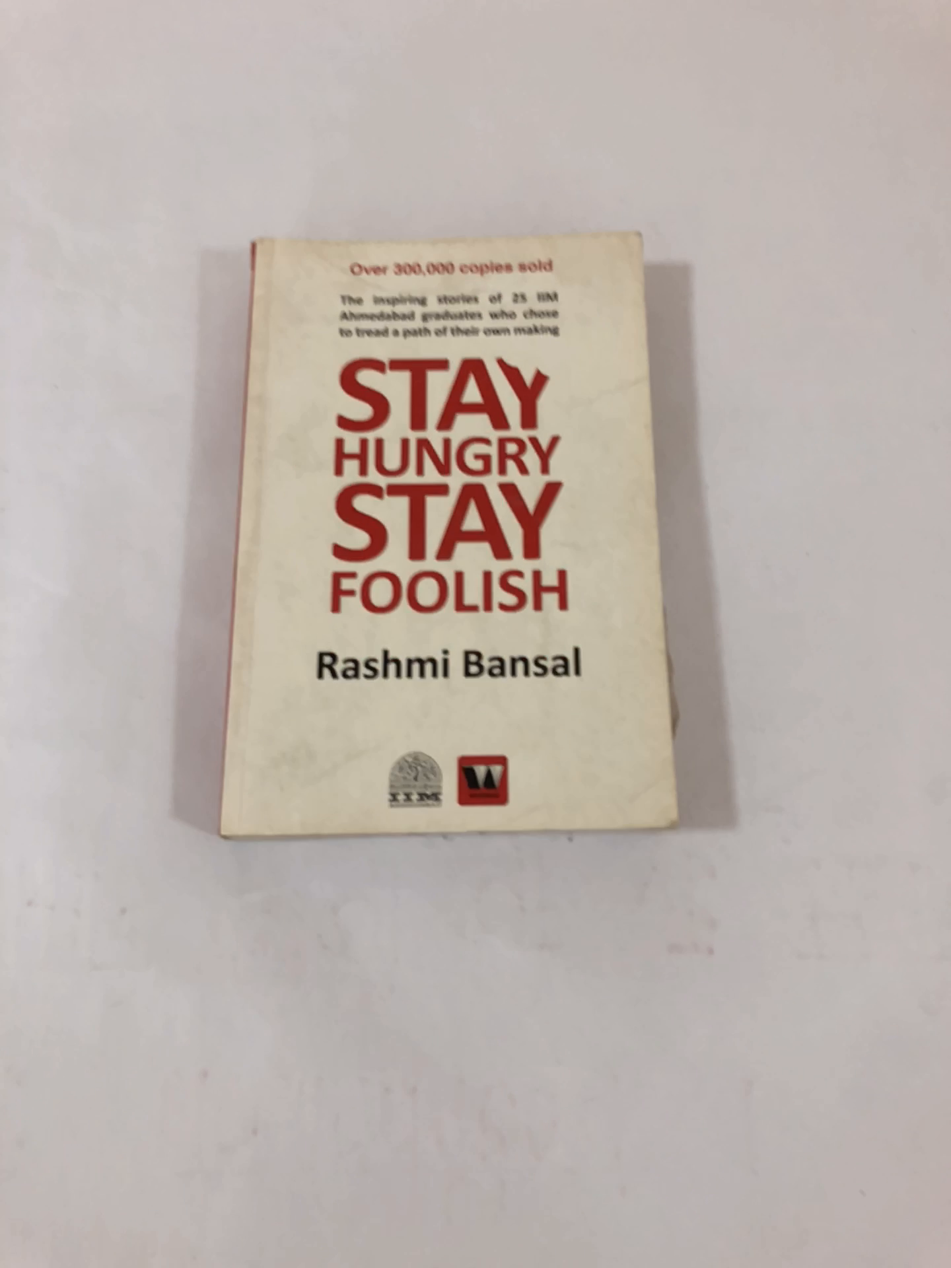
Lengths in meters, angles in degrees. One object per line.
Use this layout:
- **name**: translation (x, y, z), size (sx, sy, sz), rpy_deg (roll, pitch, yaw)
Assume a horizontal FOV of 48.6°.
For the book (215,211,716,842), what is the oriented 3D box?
- **book**: translation (-0.004, -0.036, 0.321), size (0.130, 0.040, 0.190), rpy_deg (0, 72, 0)
